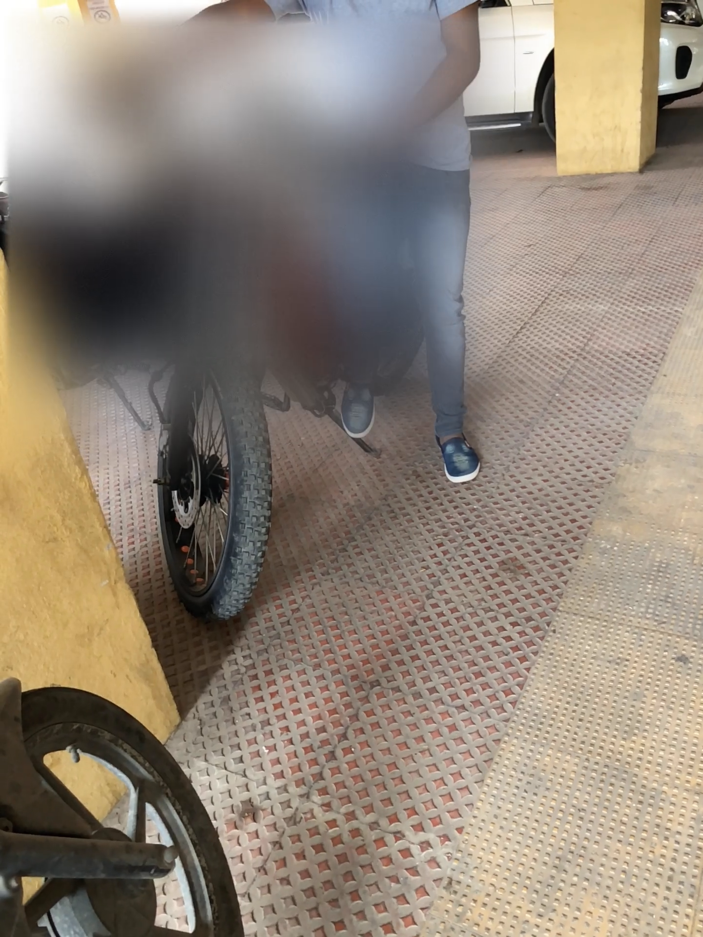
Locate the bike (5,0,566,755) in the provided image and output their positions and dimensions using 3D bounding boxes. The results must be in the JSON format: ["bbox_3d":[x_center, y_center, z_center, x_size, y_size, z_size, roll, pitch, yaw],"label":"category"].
[{"bbox_3d":[0.092,-0.454,2.177,0.753,1.185,1.759,4,37,23],"label":"bike"}]
